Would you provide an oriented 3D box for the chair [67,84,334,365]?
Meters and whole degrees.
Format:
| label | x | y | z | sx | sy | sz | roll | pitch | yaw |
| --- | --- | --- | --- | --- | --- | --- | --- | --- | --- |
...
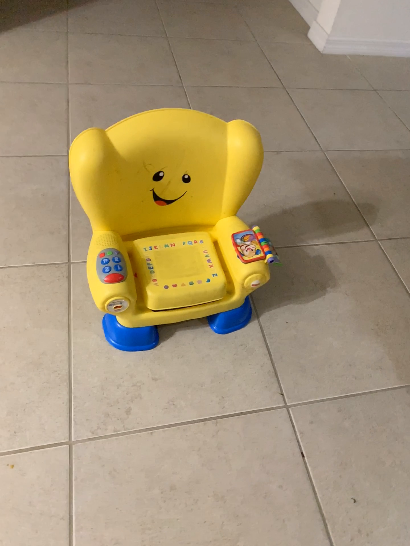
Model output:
| label | x | y | z | sx | sy | sz | roll | pitch | yaw |
| --- | --- | --- | --- | --- | --- | --- | --- | --- | --- |
| chair | -0.056 | -0.103 | 0.963 | 0.421 | 0.485 | 0.373 | -7 | 53 | -15 |
